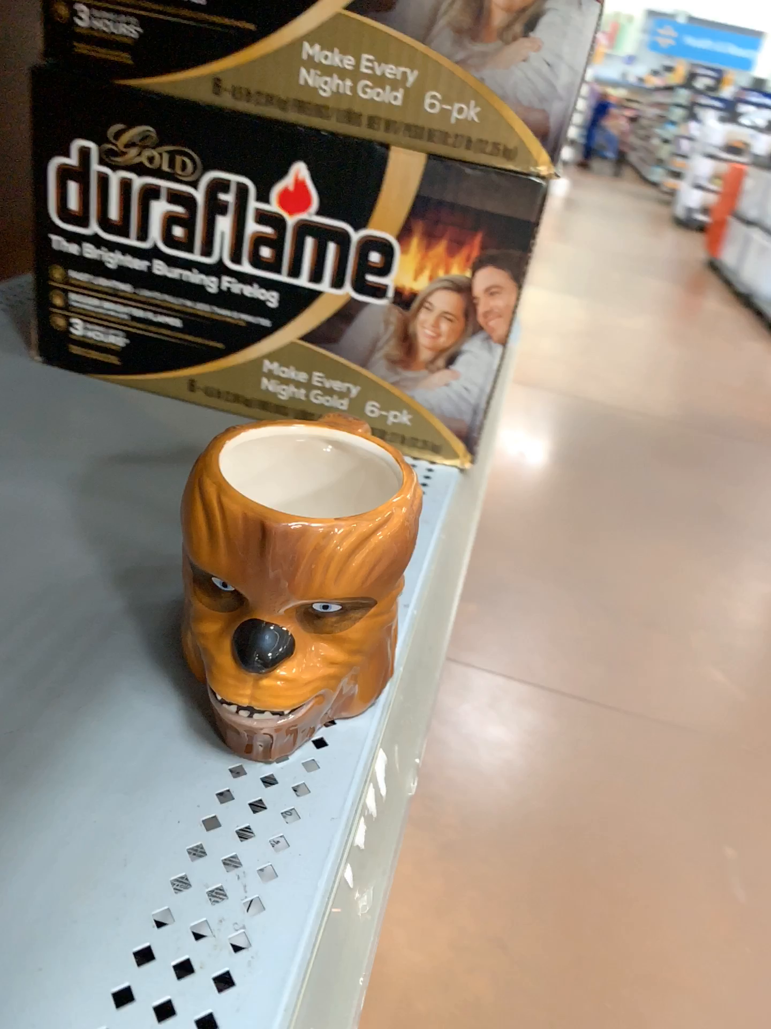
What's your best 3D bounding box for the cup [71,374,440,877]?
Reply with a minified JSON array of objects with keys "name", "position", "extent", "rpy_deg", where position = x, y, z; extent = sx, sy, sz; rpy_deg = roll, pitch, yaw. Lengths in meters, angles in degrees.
[{"name":"cup","position":[-0.050,0.037,0.335],"extent":[0.097,0.137,0.132],"rpy_deg":[15,29,6]}]
